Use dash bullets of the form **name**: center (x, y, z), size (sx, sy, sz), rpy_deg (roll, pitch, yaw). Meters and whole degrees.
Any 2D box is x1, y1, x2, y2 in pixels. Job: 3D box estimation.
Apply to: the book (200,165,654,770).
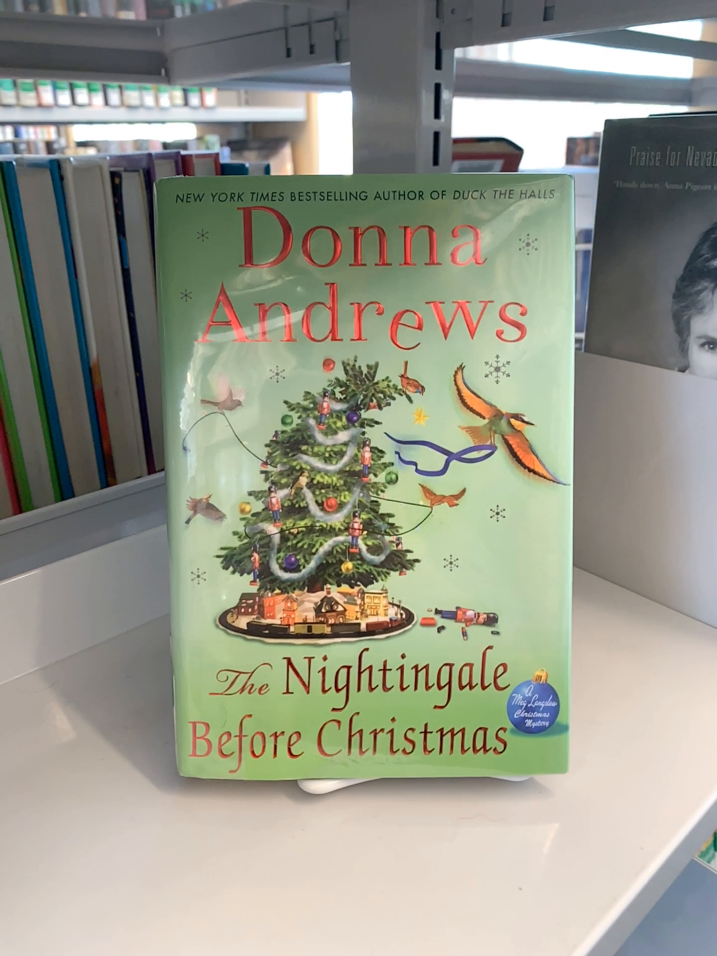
- **book**: center (0.022, -0.002, 0.266), size (0.145, 0.200, 0.040), rpy_deg (0, 5, 0)
